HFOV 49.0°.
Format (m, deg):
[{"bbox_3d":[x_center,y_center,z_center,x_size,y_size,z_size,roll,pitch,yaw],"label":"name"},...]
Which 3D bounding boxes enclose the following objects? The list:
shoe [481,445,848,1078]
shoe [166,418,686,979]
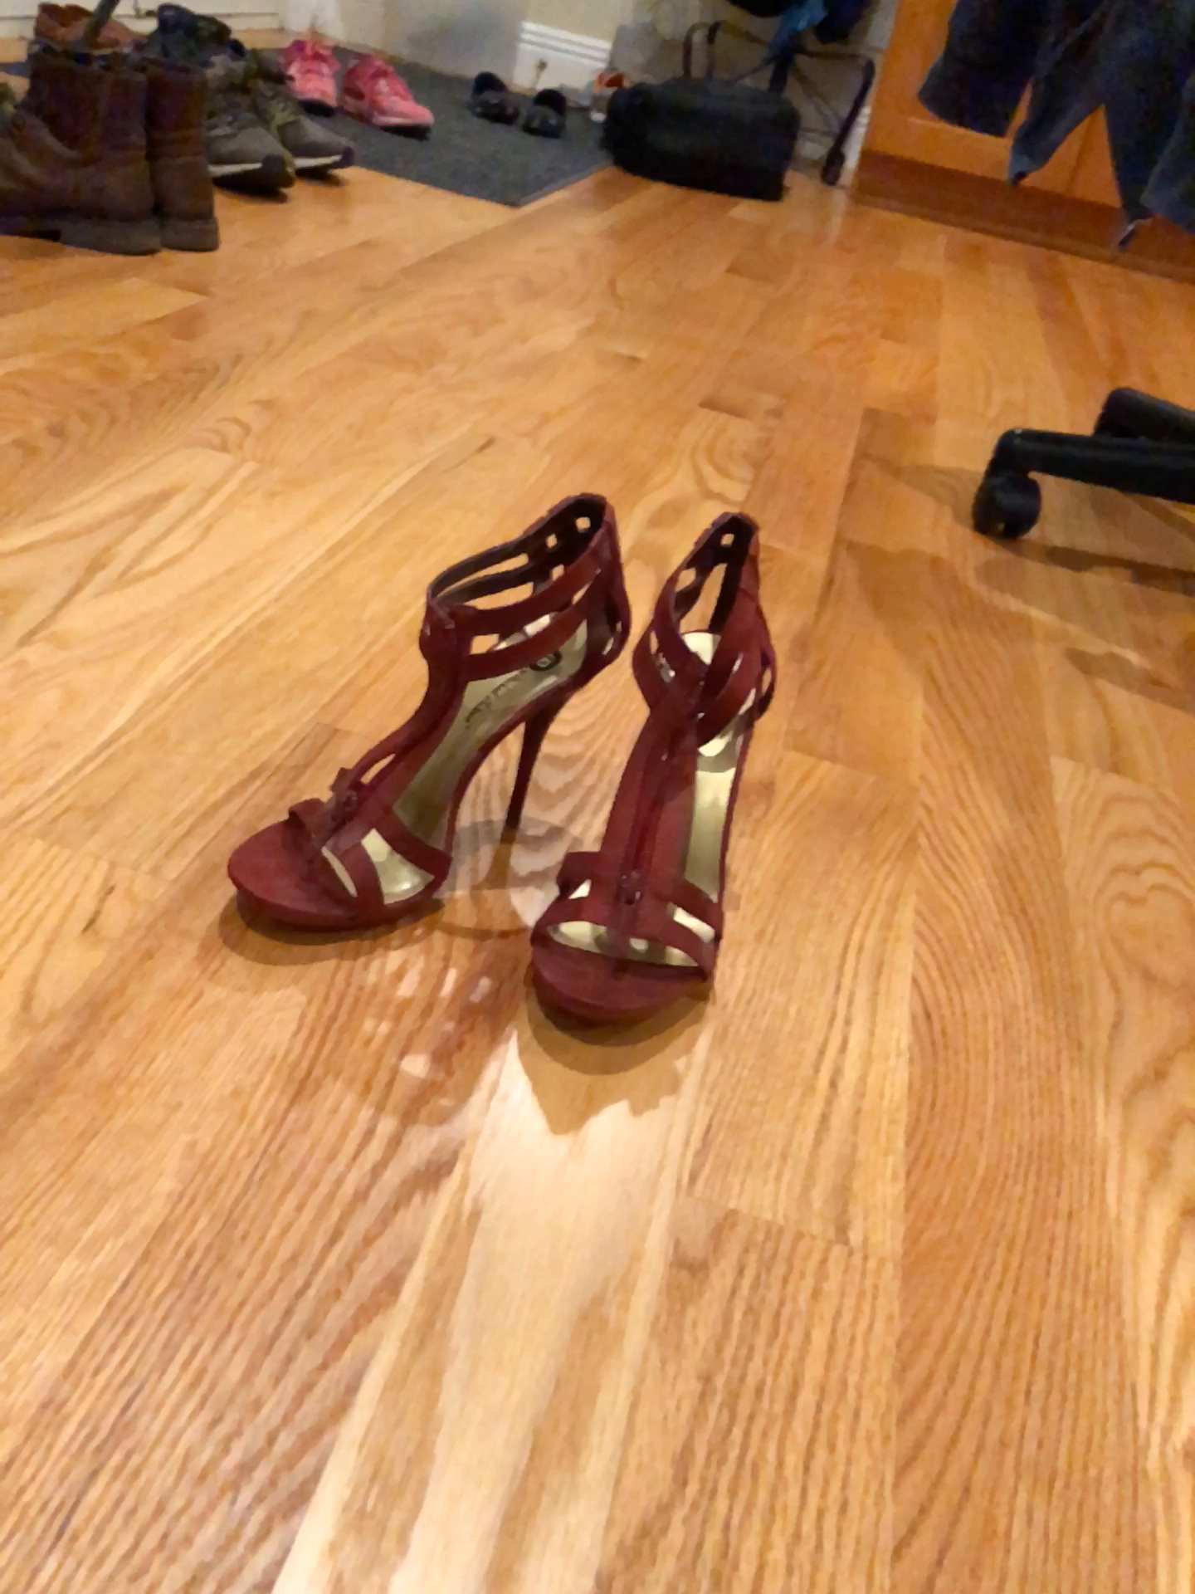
[{"bbox_3d":[0.034,-0.026,0.557,0.085,0.175,0.208,16,32,5],"label":"shoe"},{"bbox_3d":[-0.073,-0.052,0.565,0.085,0.175,0.200,32,37,27],"label":"shoe"}]
